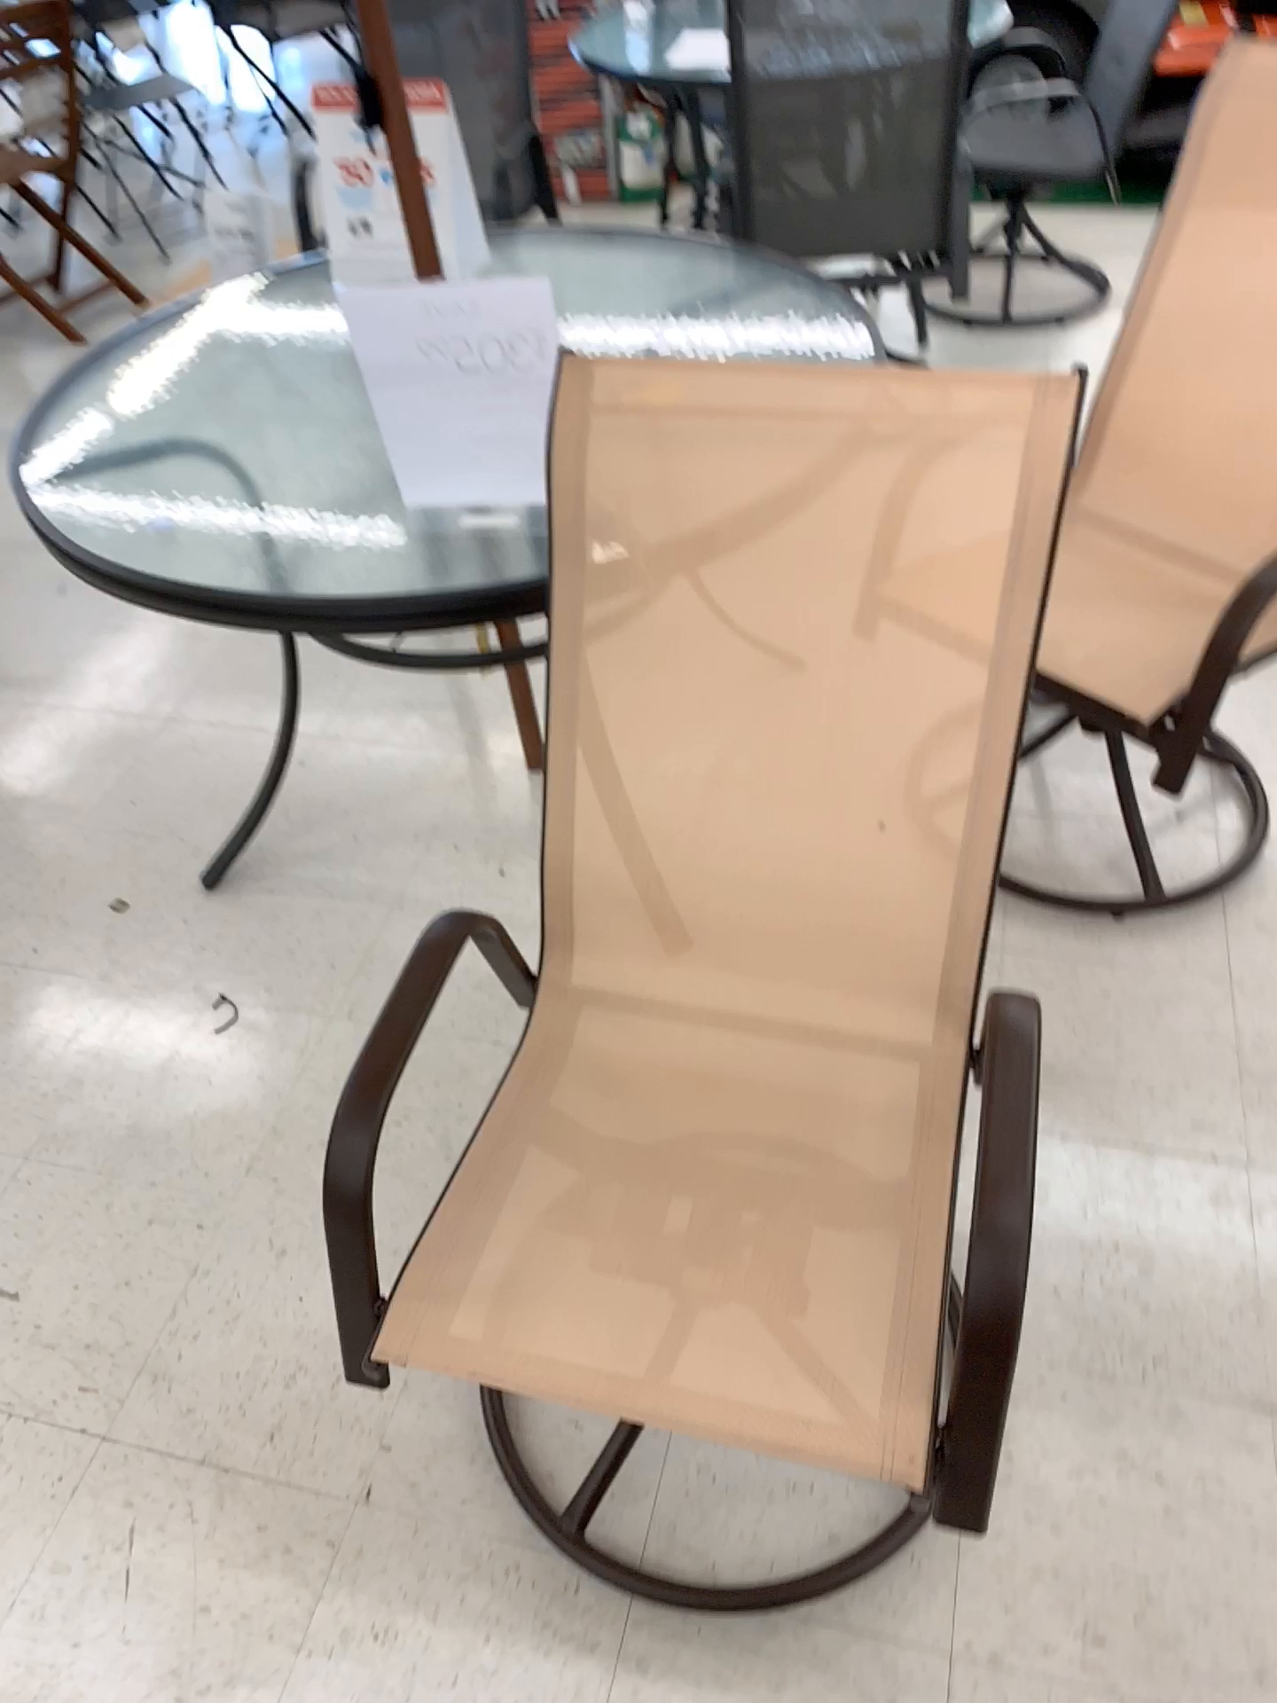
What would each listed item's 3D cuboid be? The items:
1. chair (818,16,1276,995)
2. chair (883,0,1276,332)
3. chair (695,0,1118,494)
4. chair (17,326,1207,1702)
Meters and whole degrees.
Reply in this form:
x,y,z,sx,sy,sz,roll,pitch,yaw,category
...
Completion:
x,y,z,sx,sy,sz,roll,pitch,yaw,category
0.708,-0.458,1.747,0.708,0.956,0.570,-26,46,-21,chair
0.951,-1.737,2.925,0.707,0.917,0.571,5,43,11,chair
0.466,-1.336,2.618,0.568,0.917,0.710,-7,42,-2,chair
0.081,0.156,1.170,0.568,0.956,0.710,7,44,13,chair
